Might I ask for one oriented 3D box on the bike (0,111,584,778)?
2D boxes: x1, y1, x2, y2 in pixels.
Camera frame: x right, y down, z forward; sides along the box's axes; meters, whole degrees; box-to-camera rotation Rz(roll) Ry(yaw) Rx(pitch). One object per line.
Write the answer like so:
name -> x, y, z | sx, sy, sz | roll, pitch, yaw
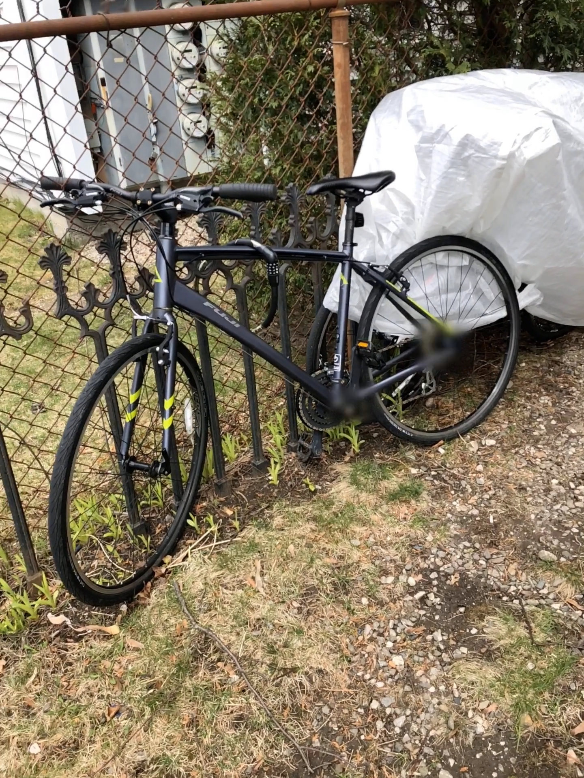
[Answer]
bike -> 0.203, -0.106, 2.051 | 0.678, 1.347, 2.202 | 23, 35, 39
